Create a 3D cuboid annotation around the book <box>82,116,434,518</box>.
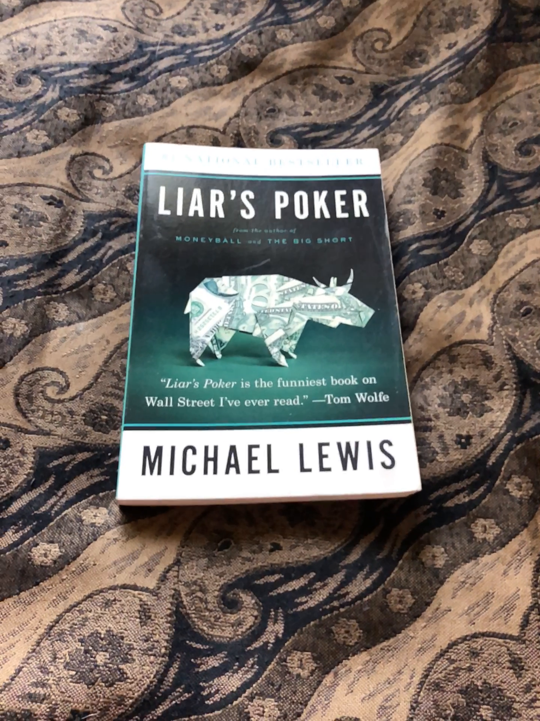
[{"bbox_3d":[-0.004,-0.030,0.317,0.150,0.040,0.210,2,67,-2],"label":"book"}]
